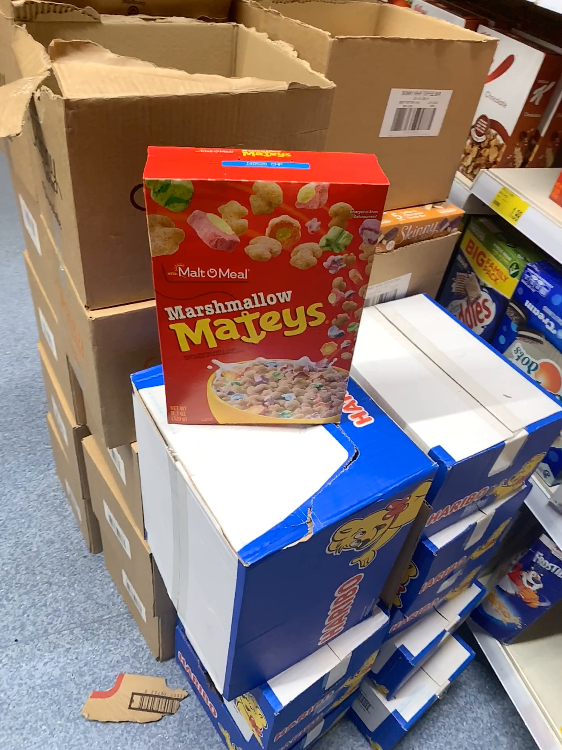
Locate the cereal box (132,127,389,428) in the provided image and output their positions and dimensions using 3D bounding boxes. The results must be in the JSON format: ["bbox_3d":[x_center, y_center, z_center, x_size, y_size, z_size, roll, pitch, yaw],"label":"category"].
[{"bbox_3d":[-0.025,-0.072,0.548,0.190,0.287,0.071,0,43,-5],"label":"cereal box"}]
